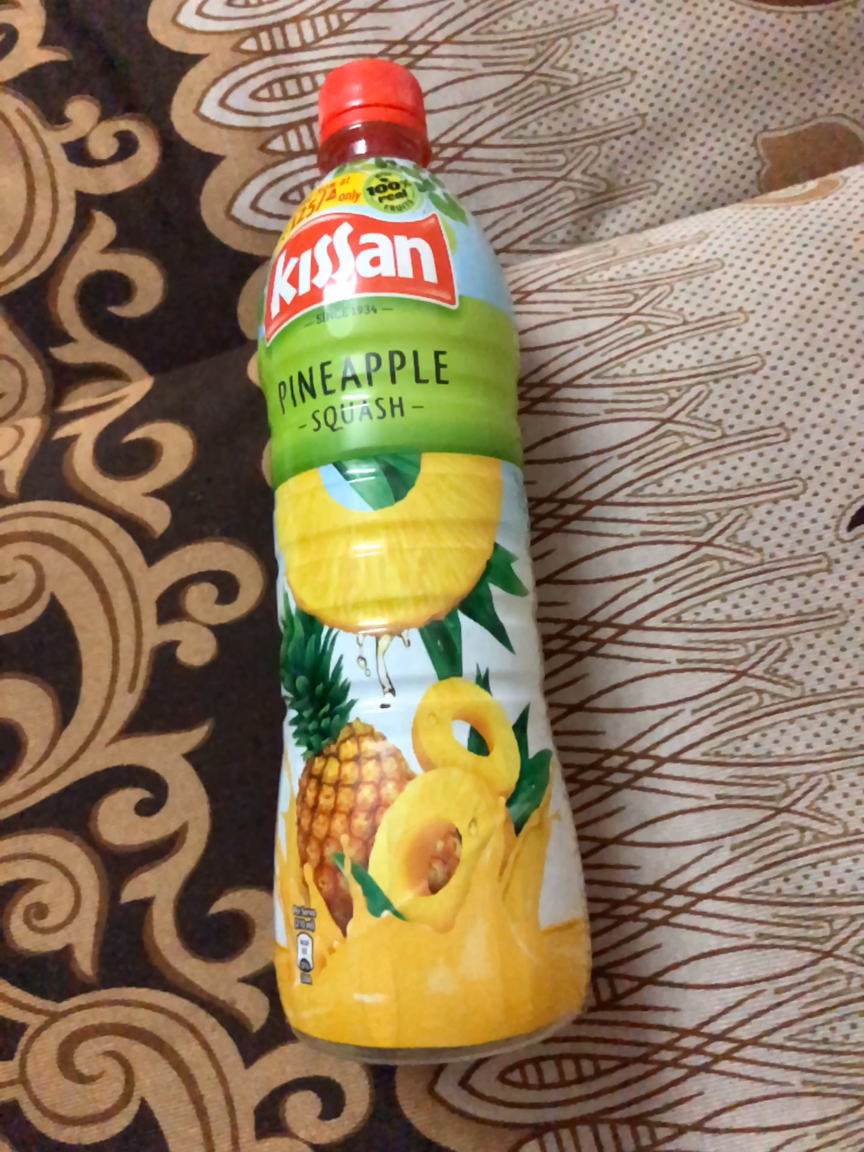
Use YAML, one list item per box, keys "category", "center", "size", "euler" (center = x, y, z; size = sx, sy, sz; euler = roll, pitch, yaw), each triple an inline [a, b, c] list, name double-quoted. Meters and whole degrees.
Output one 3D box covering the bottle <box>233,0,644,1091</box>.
- category: "bottle"
  center: [0.001, -0.018, 0.229]
  size: [0.070, 0.060, 0.240]
  euler: [-5, 81, 8]
